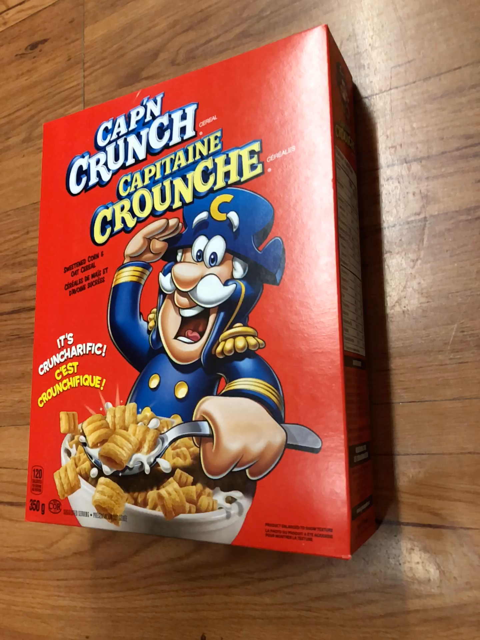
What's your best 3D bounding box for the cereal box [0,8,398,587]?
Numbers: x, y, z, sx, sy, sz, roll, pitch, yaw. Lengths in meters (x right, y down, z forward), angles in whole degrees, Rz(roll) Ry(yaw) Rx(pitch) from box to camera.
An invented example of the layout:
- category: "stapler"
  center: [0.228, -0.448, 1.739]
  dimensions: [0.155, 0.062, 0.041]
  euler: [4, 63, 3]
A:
- category: "cereal box"
  center: [-0.034, -0.008, 0.310]
  dimensions: [0.221, 0.060, 0.260]
  euler: [-6, 80, 27]
